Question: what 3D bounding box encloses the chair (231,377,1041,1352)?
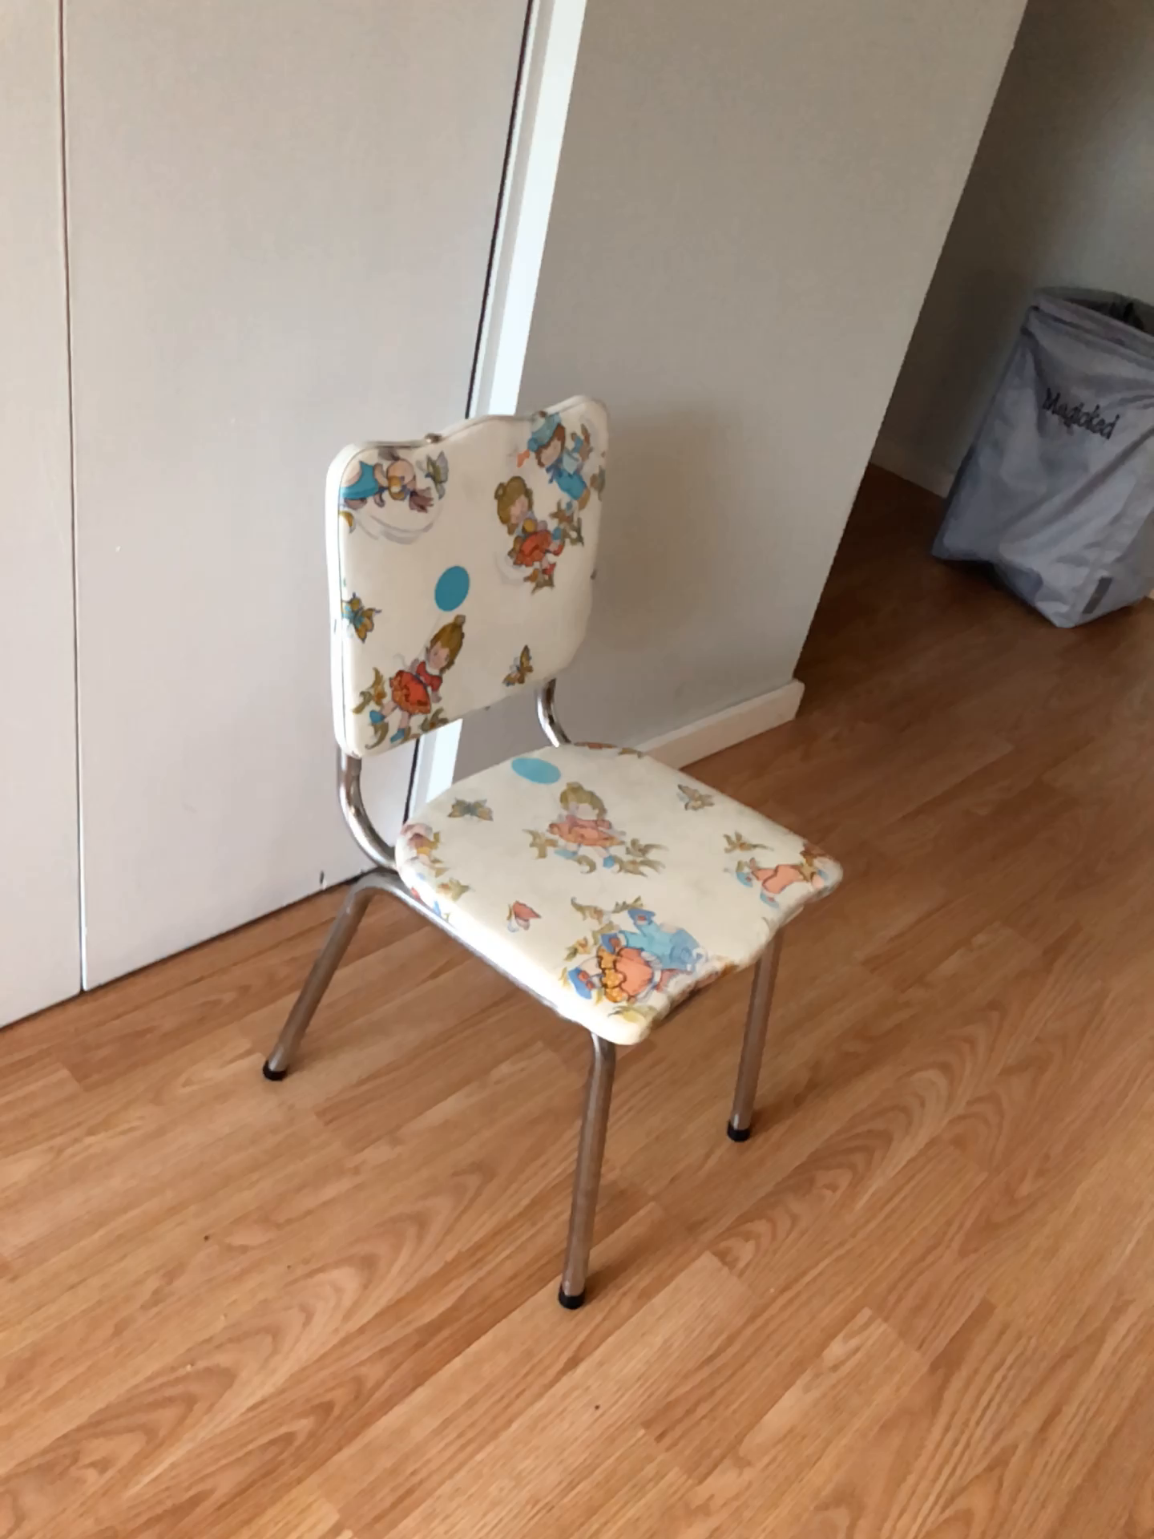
[{"bbox_3d":[0.008,0.052,0.999,0.390,0.558,0.351,34,38,27],"label":"chair"}]
